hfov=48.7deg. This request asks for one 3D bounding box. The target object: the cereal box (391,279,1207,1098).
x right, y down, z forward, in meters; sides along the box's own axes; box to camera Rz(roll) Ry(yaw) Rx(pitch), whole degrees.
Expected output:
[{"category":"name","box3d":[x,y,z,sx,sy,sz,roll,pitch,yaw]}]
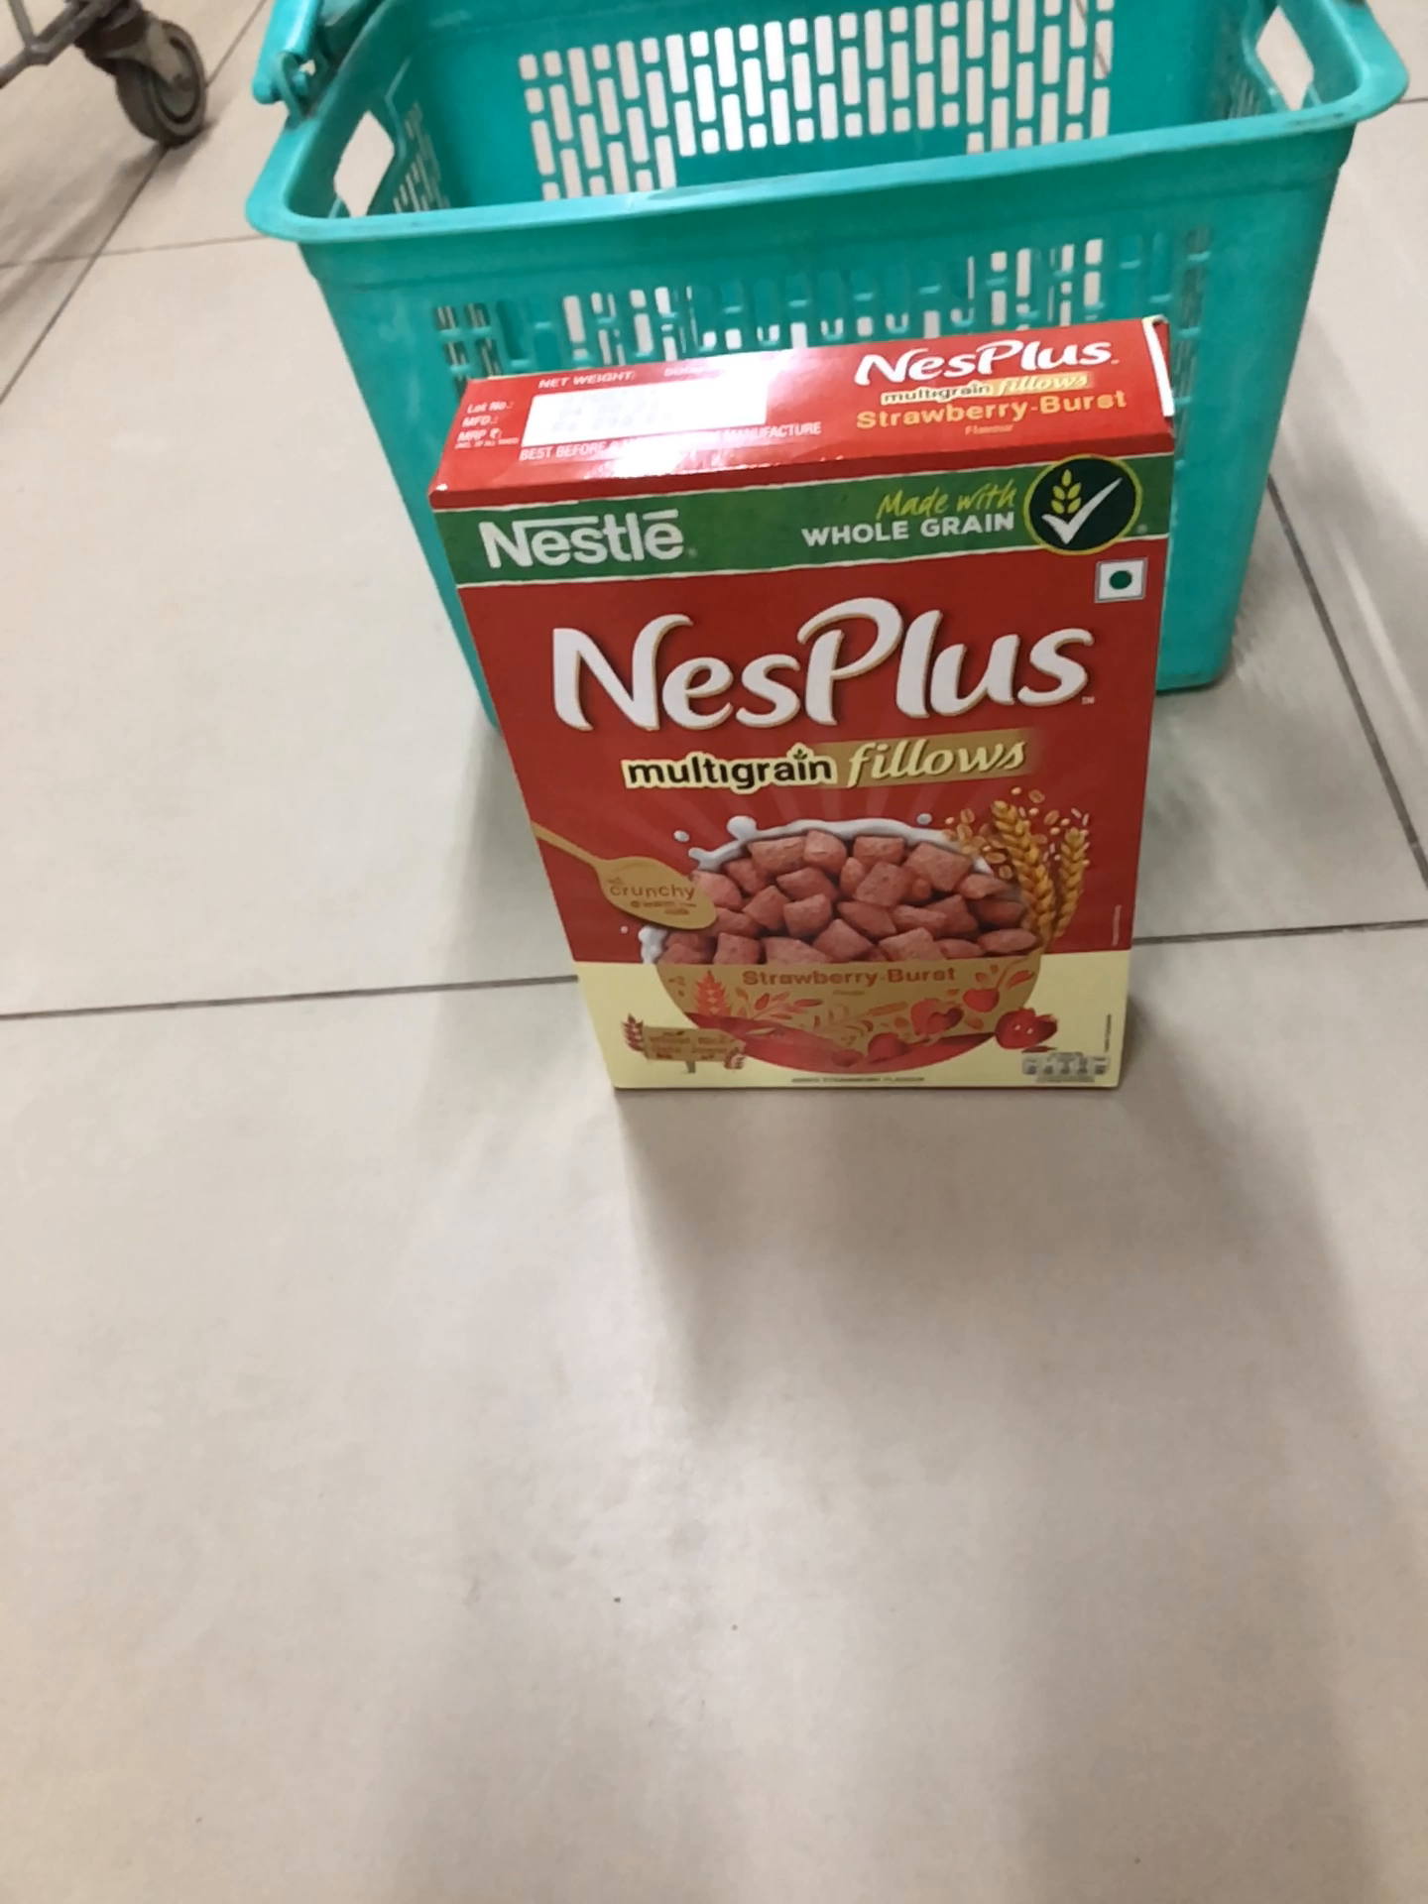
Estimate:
[{"category":"cereal box","box3d":[0.035,-0.057,0.481,0.190,0.258,0.060,-1,48,9]}]
